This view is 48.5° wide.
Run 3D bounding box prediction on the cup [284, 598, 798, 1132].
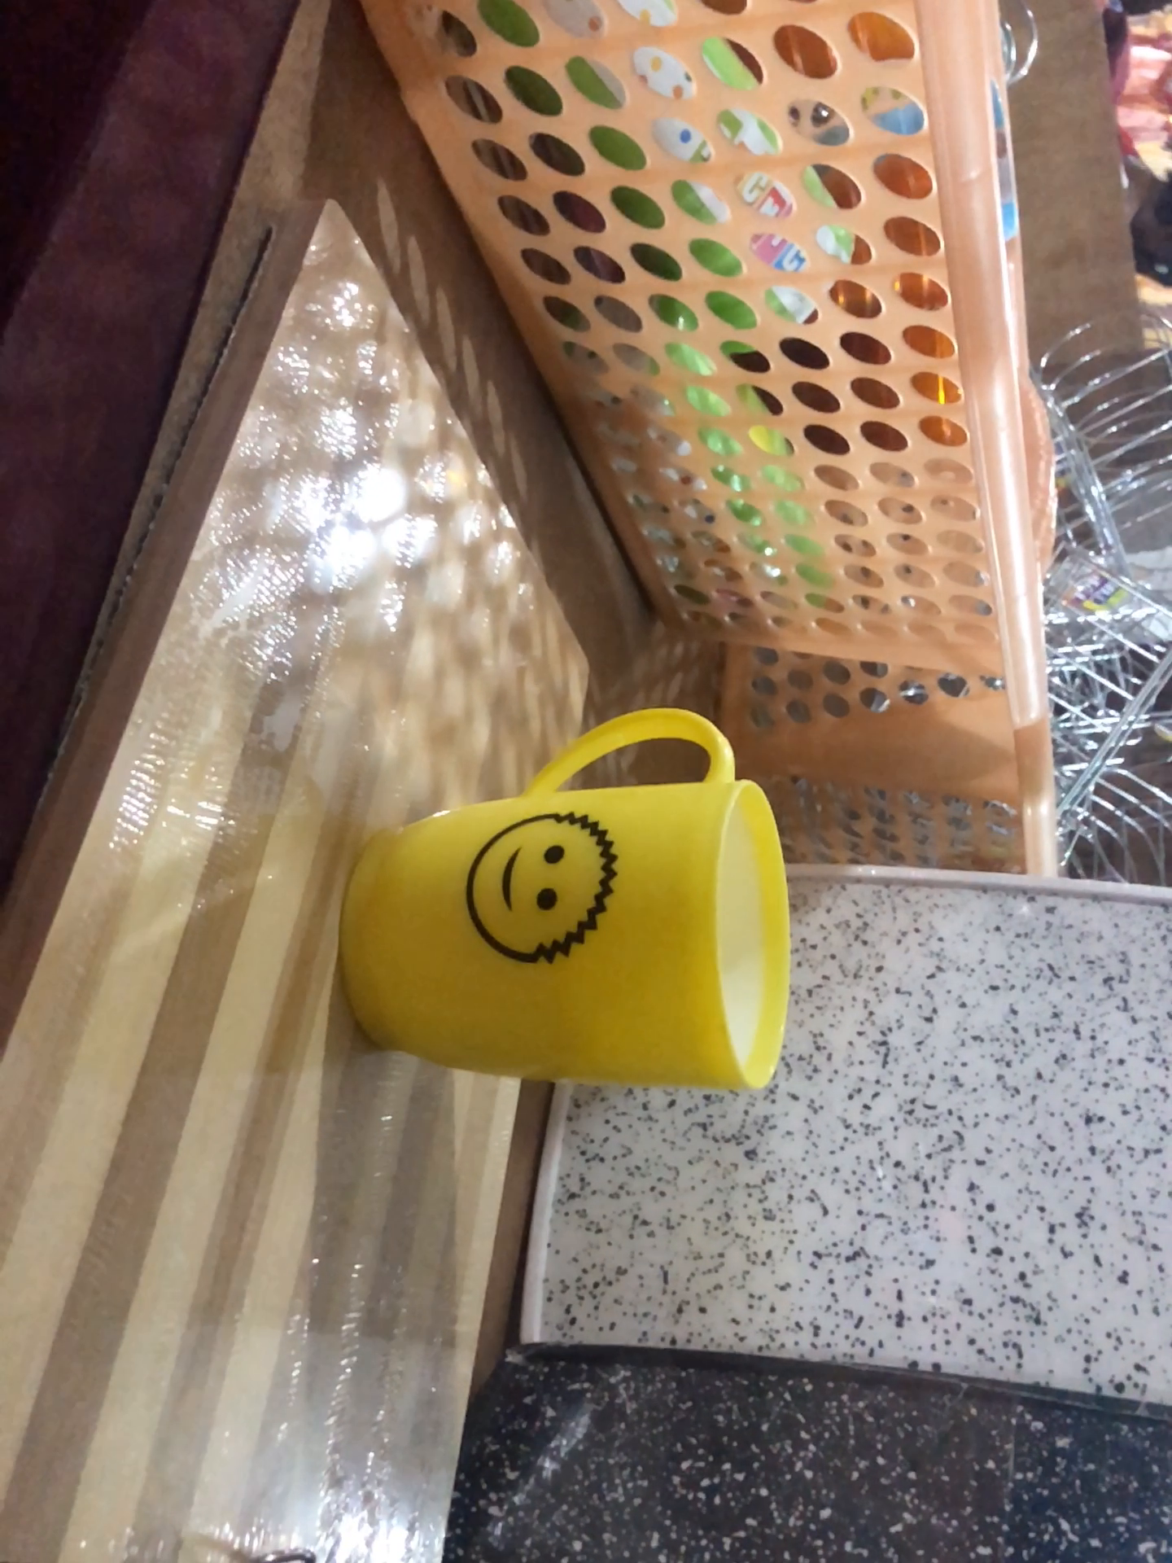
[{"bbox_3d":[-0.003,0.026,0.342,0.080,0.099,0.110,55,36,-54],"label":"cup"}]
